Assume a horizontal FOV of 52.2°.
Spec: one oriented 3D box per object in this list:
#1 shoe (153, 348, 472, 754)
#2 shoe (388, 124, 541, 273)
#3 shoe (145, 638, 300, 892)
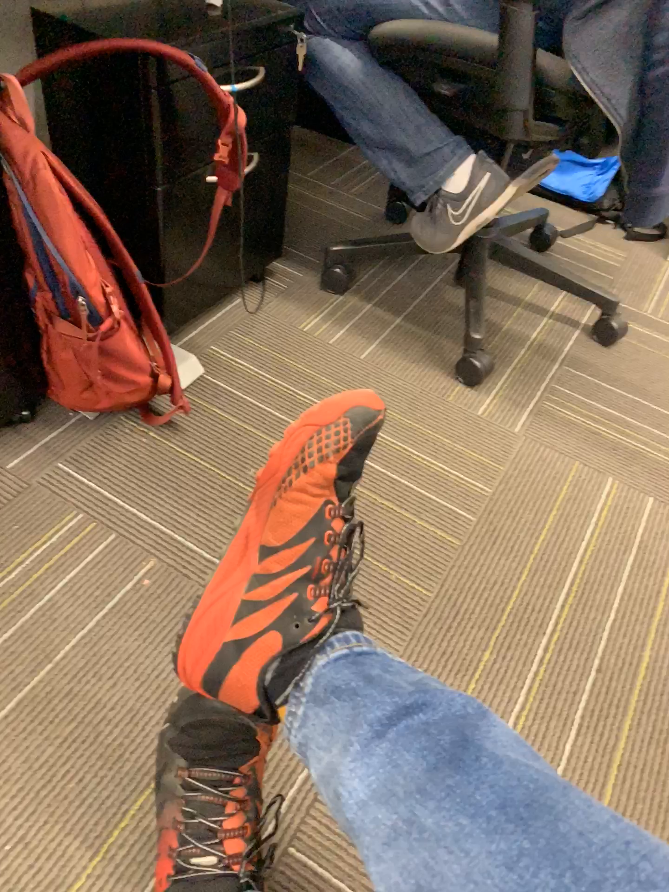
[{"bbox_3d":[-0.017,0.084,0.605,0.142,0.304,0.118,28,14,9],"label":"shoe"},{"bbox_3d":[0.325,-0.626,1.768,0.164,0.355,0.155,46,65,-10],"label":"shoe"},{"bbox_3d":[-0.110,0.355,0.678,0.129,0.135,0.289,2,87,-10],"label":"shoe"}]
